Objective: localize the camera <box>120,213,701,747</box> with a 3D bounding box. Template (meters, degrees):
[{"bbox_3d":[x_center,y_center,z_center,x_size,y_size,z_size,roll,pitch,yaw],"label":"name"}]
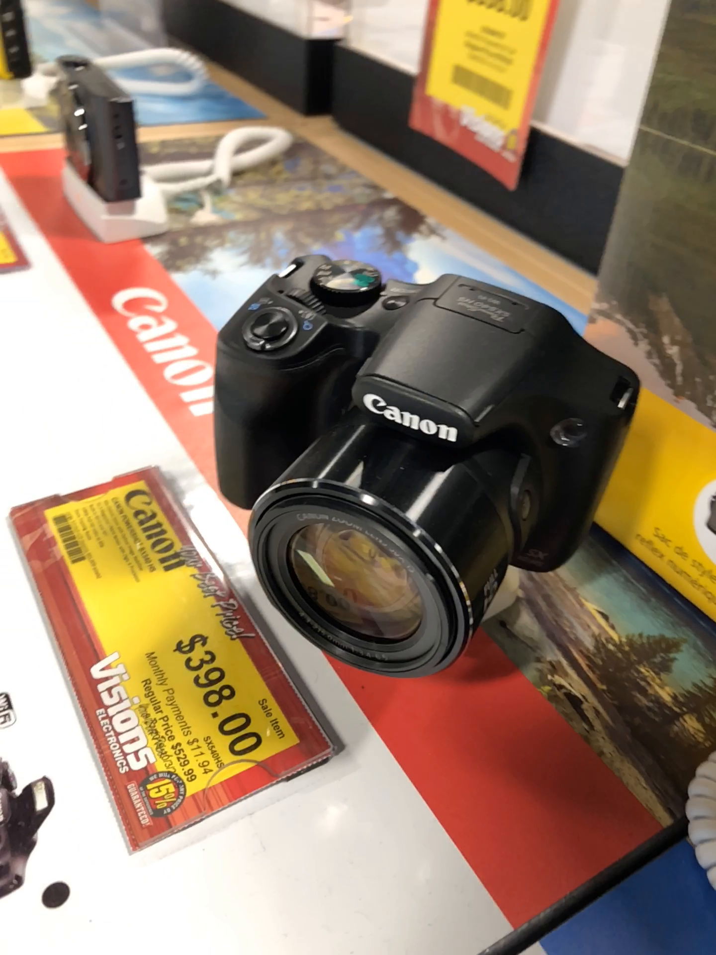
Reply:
[{"bbox_3d":[0.014,-0.009,0.228,0.120,0.079,0.090,24,42,23],"label":"camera"}]
